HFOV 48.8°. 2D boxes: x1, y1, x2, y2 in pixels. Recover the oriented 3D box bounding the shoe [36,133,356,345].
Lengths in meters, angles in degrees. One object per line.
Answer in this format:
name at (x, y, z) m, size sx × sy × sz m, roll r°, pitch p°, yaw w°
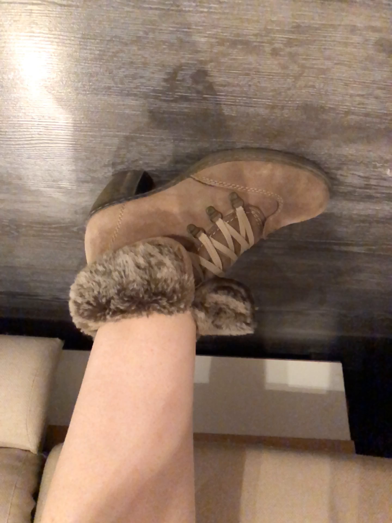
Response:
shoe at (0.006, -0.013, 0.420) m, size 0.250 × 0.149 × 0.121 m, roll -3°, pitch 150°, yaw 10°
